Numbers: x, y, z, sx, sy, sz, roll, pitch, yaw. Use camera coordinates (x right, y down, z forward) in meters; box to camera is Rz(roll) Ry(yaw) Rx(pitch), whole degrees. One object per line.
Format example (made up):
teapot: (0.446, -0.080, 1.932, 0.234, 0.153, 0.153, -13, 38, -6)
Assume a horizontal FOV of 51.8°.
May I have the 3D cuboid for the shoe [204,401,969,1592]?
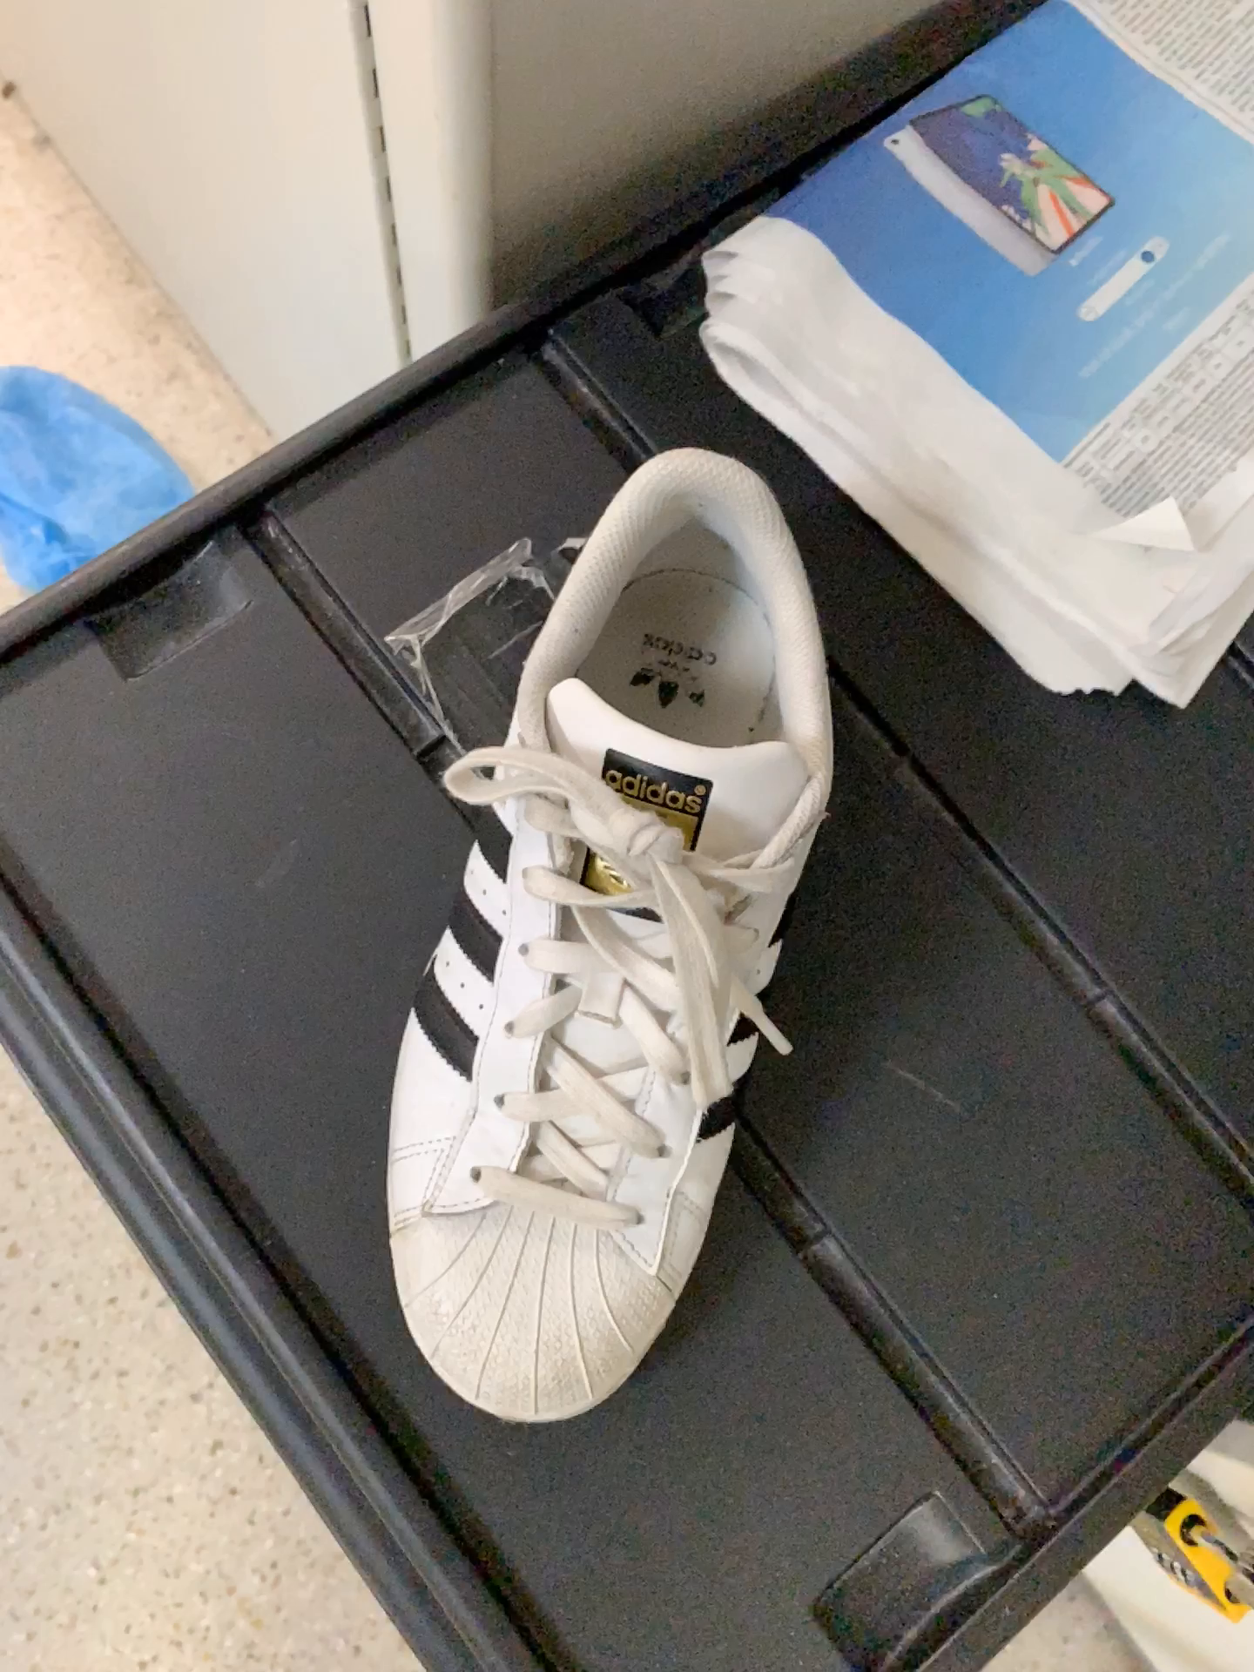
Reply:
shoe: (-0.006, 0.033, 0.331, 0.103, 0.092, 0.242, 17, 81, 0)
